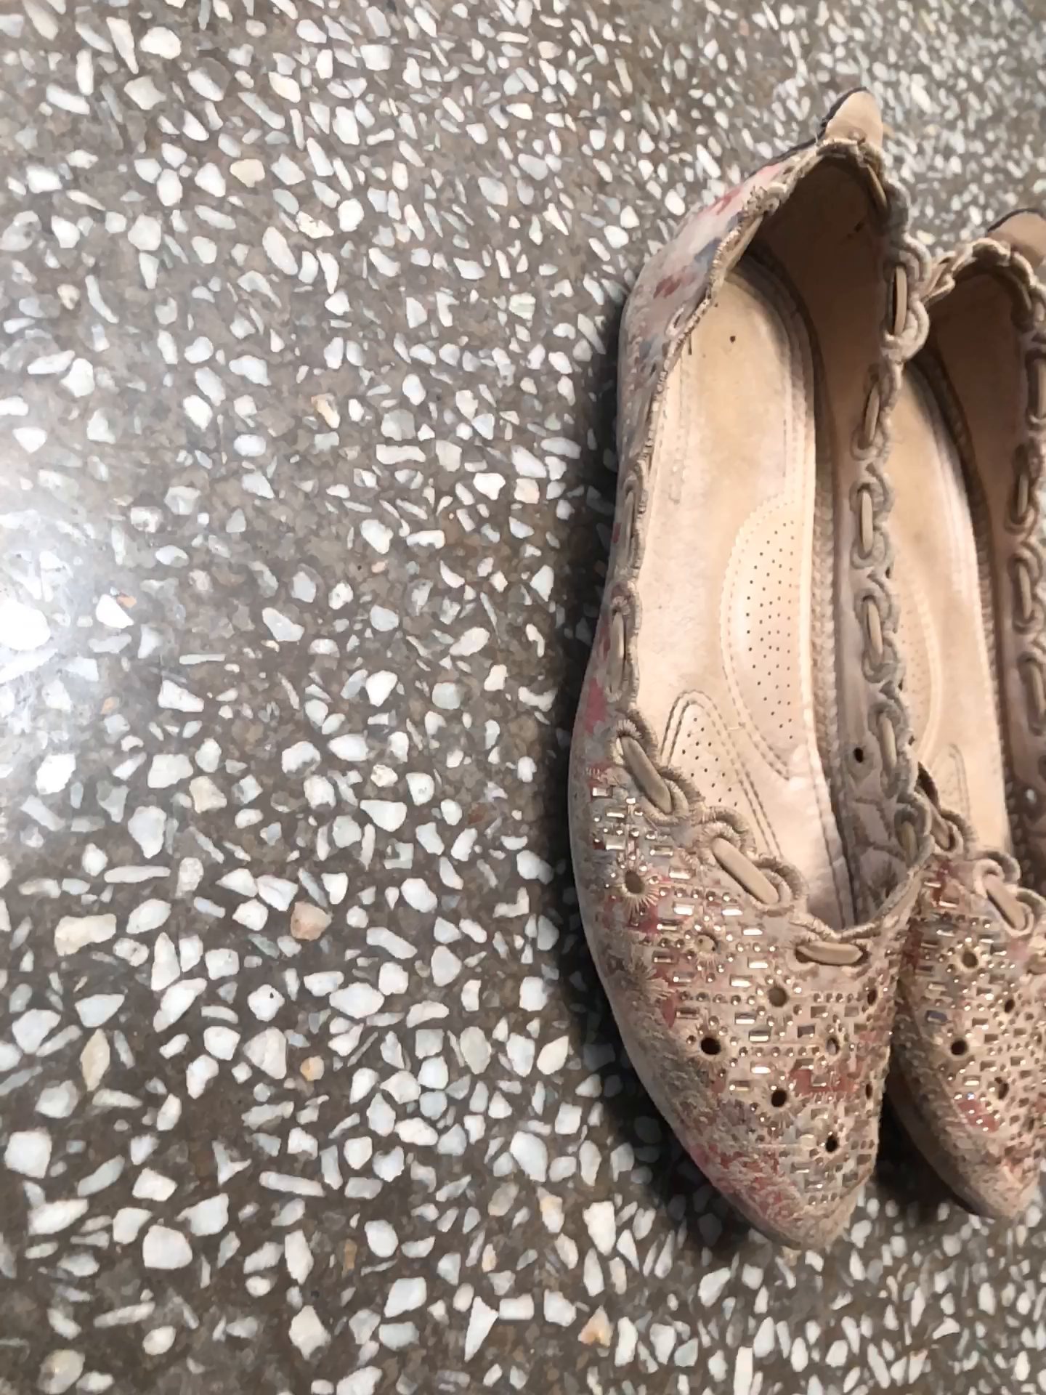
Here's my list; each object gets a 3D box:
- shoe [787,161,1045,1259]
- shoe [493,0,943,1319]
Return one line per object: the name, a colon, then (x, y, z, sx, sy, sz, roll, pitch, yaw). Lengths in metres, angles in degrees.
shoe: (0.120, 0.000, 0.326, 0.090, 0.040, 0.270, 10, 77, -36)
shoe: (0.042, -0.020, 0.275, 0.090, 0.040, 0.280, 10, 73, -36)
